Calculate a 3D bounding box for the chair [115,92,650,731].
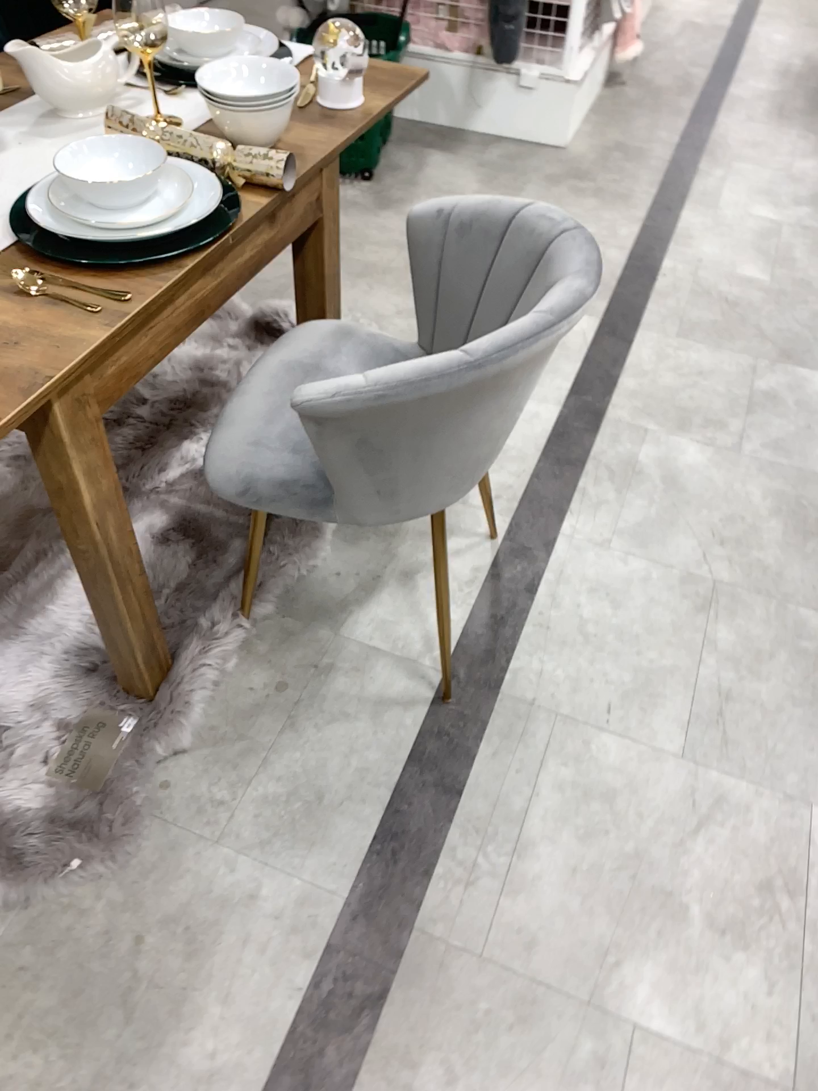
[{"bbox_3d":[0.004,-0.221,1.376,0.550,0.709,0.636,14,47,10],"label":"chair"}]
